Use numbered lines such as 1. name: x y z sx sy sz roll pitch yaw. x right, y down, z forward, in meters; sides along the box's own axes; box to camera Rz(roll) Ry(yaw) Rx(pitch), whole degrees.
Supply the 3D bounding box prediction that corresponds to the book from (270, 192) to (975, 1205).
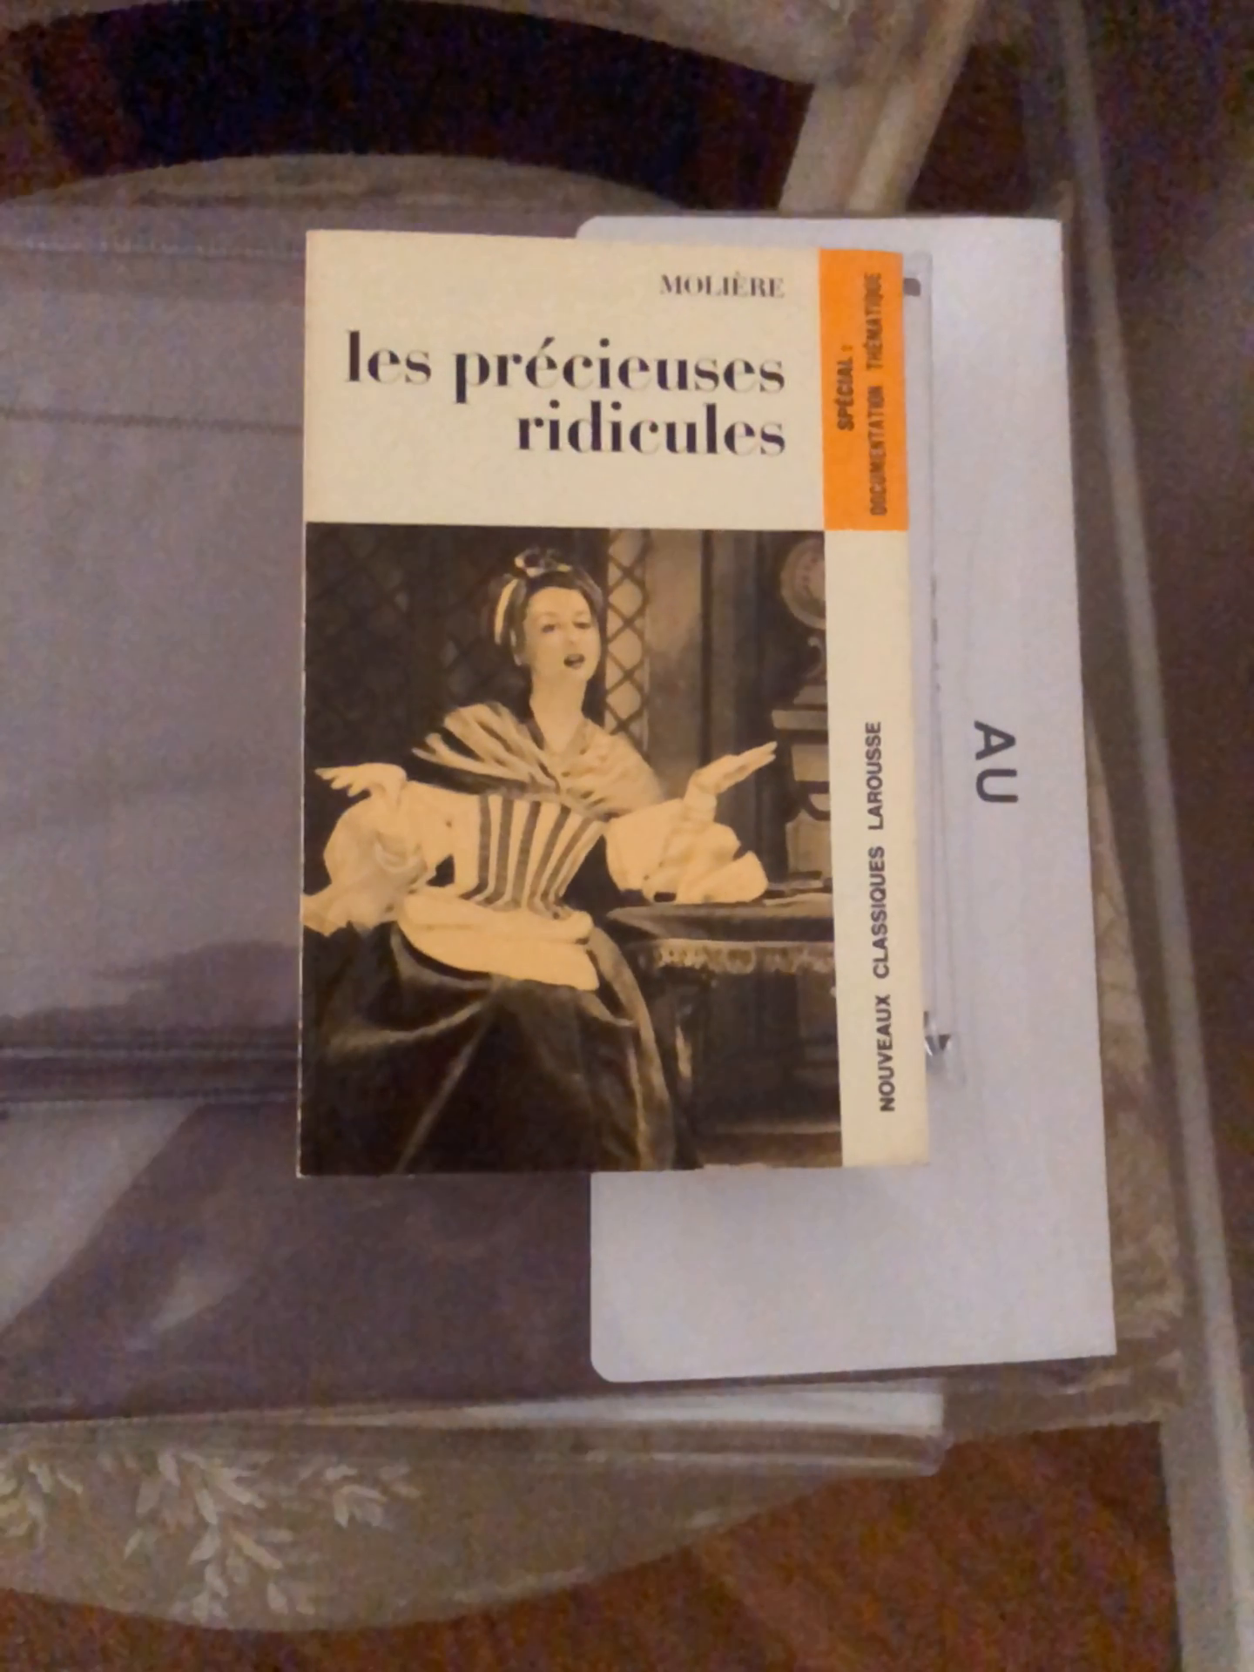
1. book: -0.001 -0.027 0.257 0.120 0.020 0.180 0 83 -4
